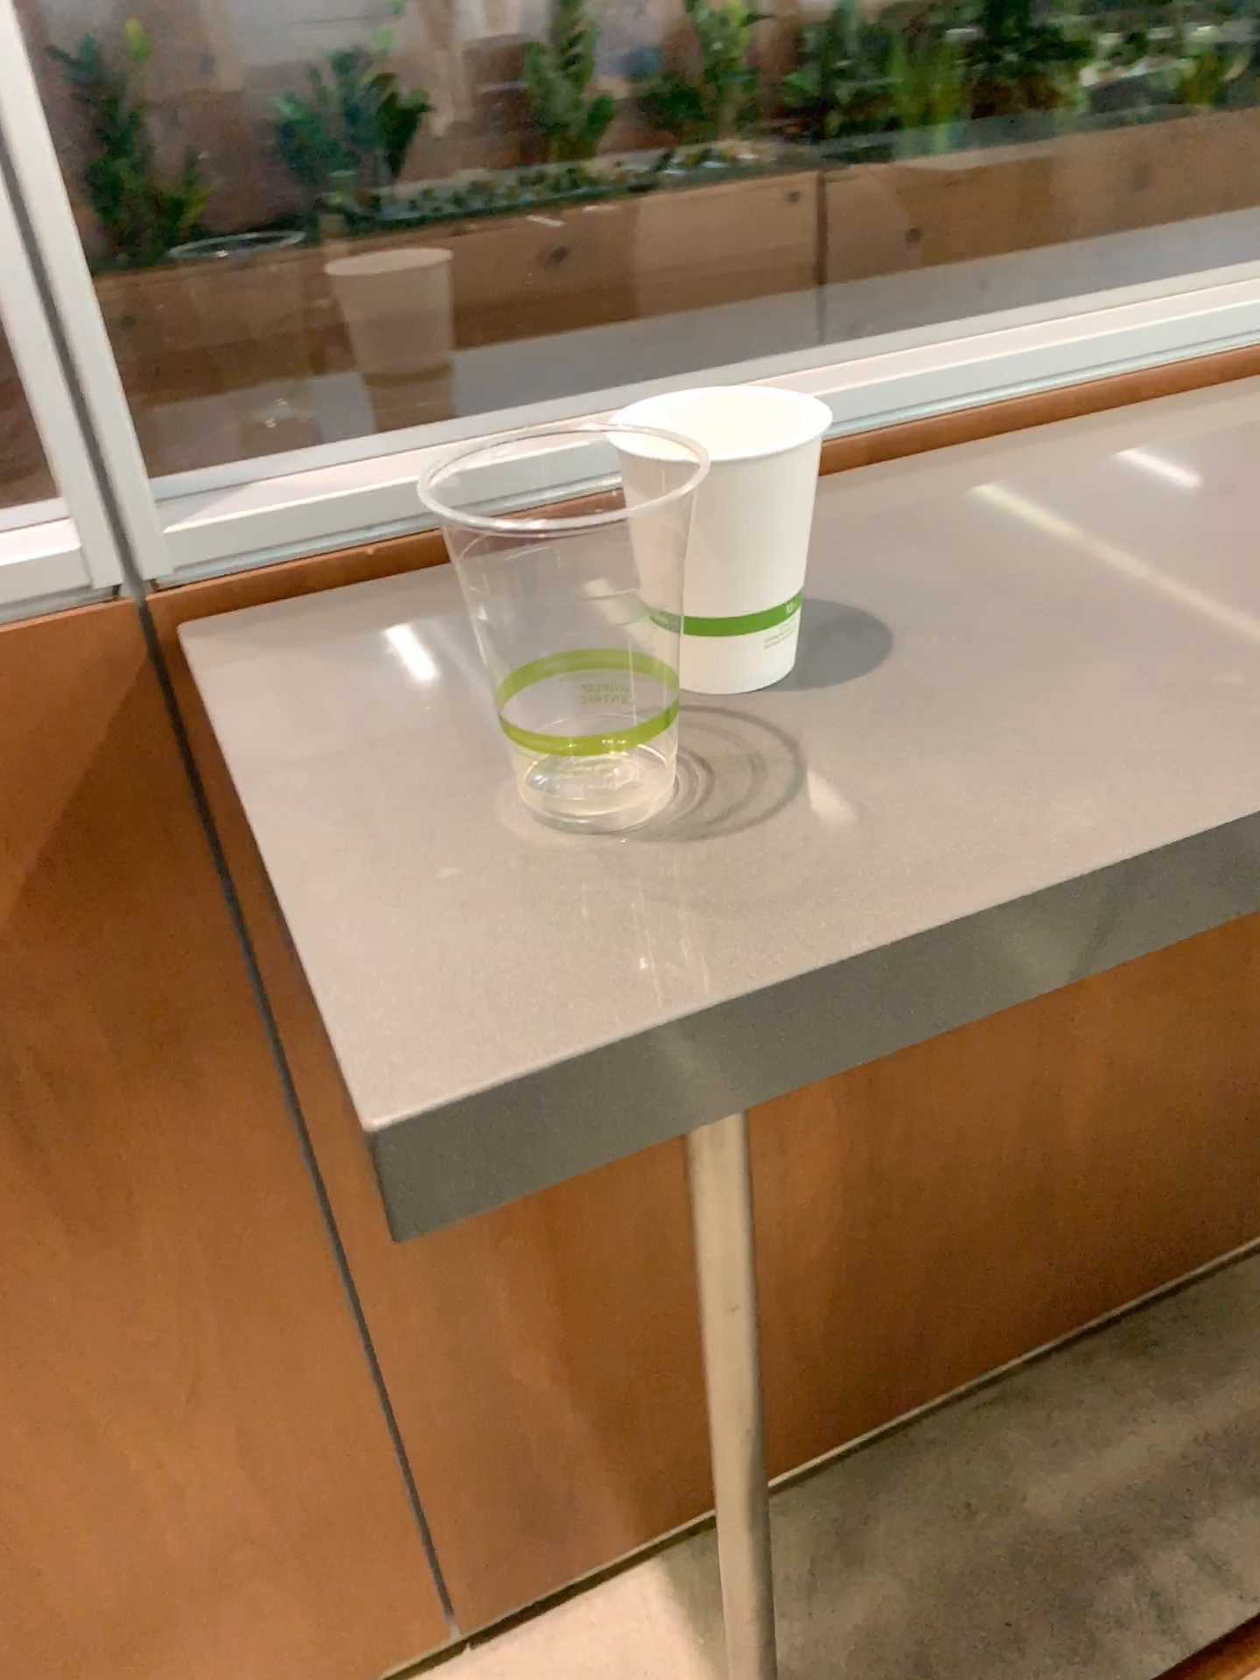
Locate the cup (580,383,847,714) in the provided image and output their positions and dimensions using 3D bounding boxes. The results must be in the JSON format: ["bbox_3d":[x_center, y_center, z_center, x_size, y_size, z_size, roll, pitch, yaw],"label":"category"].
[{"bbox_3d":[0.039,-0.122,0.537,0.090,0.109,0.080,5,34,15],"label":"cup"}]

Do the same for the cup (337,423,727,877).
[{"bbox_3d":[-0.026,-0.069,0.447,0.090,0.119,0.090,-4,33,2],"label":"cup"}]
